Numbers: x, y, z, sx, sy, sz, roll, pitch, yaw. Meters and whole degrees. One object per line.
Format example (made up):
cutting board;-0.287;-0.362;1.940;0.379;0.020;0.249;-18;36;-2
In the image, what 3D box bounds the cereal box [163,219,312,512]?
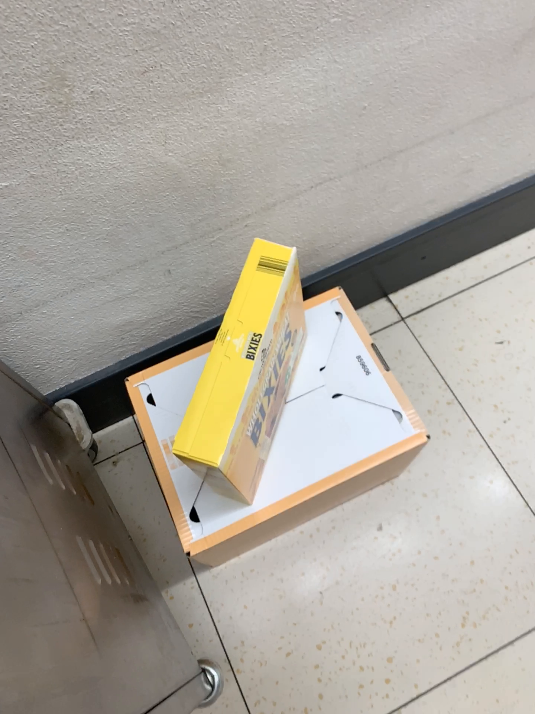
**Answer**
cereal box;-0.019;0.029;0.716;0.070;0.279;0.291;15;68;9
